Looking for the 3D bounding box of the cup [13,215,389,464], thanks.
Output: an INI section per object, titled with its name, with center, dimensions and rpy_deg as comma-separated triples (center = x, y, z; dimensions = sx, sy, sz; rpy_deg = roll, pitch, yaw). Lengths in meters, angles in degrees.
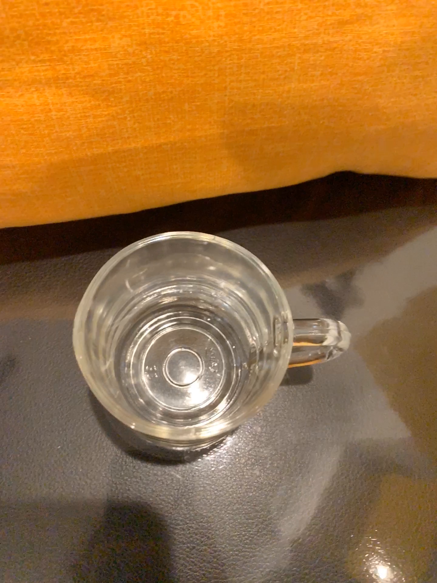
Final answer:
[cup]
center = -0.007, 0.019, 0.162
dimensions = 0.100, 0.060, 0.070
rpy_deg = -2, 68, -7
